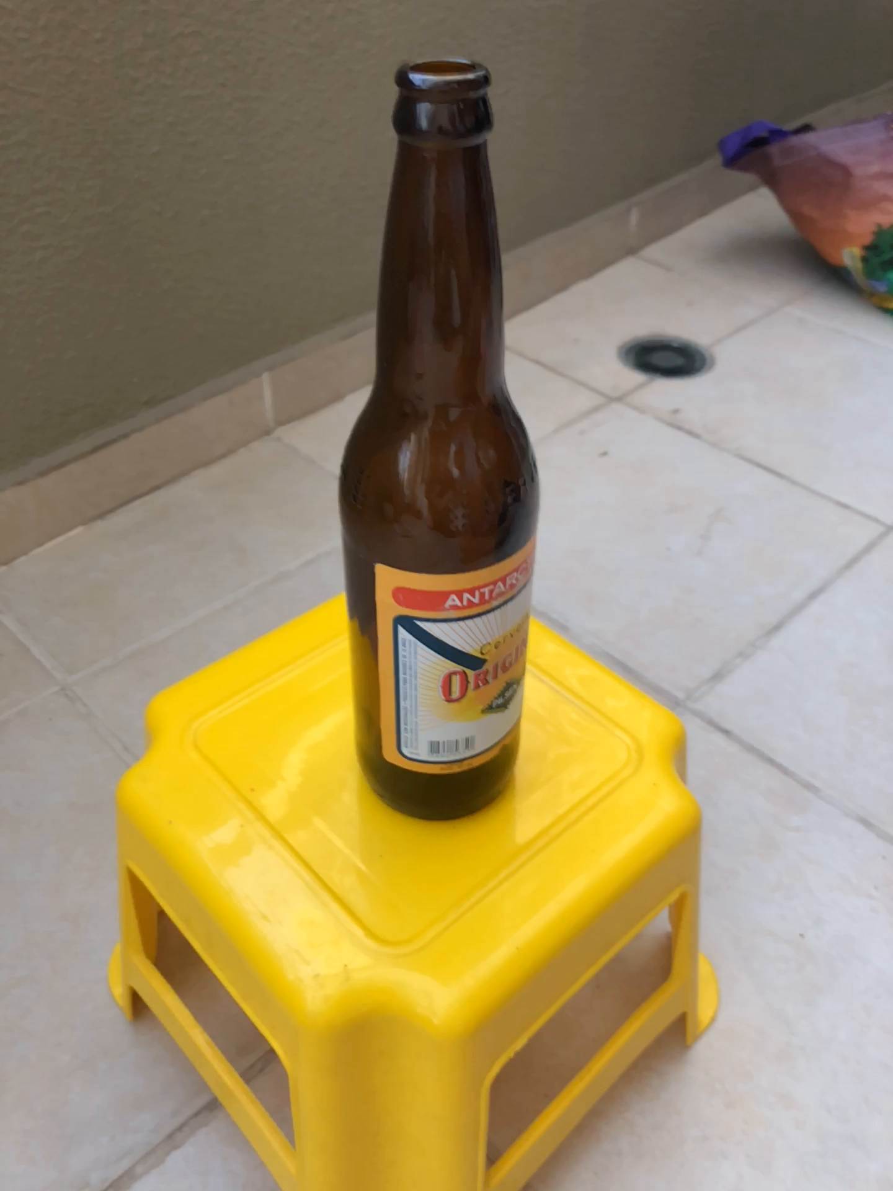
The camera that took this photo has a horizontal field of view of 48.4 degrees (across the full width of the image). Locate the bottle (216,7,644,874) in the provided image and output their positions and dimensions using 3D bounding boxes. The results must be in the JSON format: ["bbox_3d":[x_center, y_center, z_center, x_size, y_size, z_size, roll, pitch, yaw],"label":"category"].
[{"bbox_3d":[-0.009,-0.034,0.354,0.080,0.288,0.080,1,40,-1],"label":"bottle"}]
